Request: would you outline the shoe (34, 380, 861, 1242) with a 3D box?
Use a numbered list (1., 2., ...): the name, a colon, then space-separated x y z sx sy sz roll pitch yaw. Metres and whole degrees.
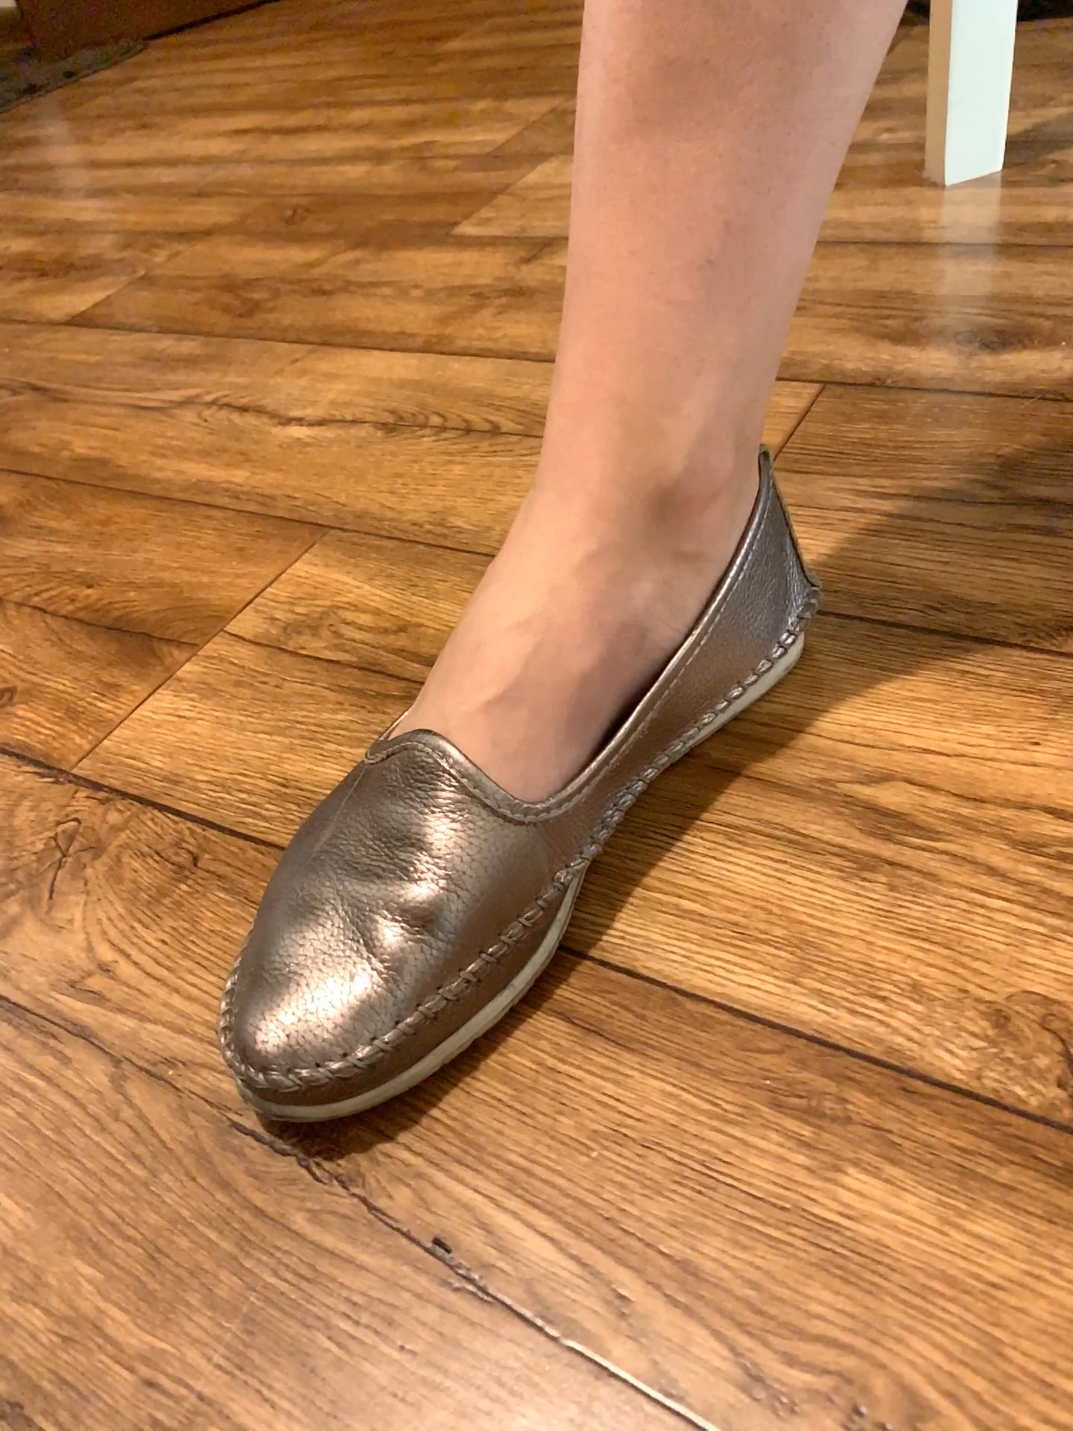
1. shoe: -0.010 0.009 0.315 0.096 0.070 0.230 23 62 36
